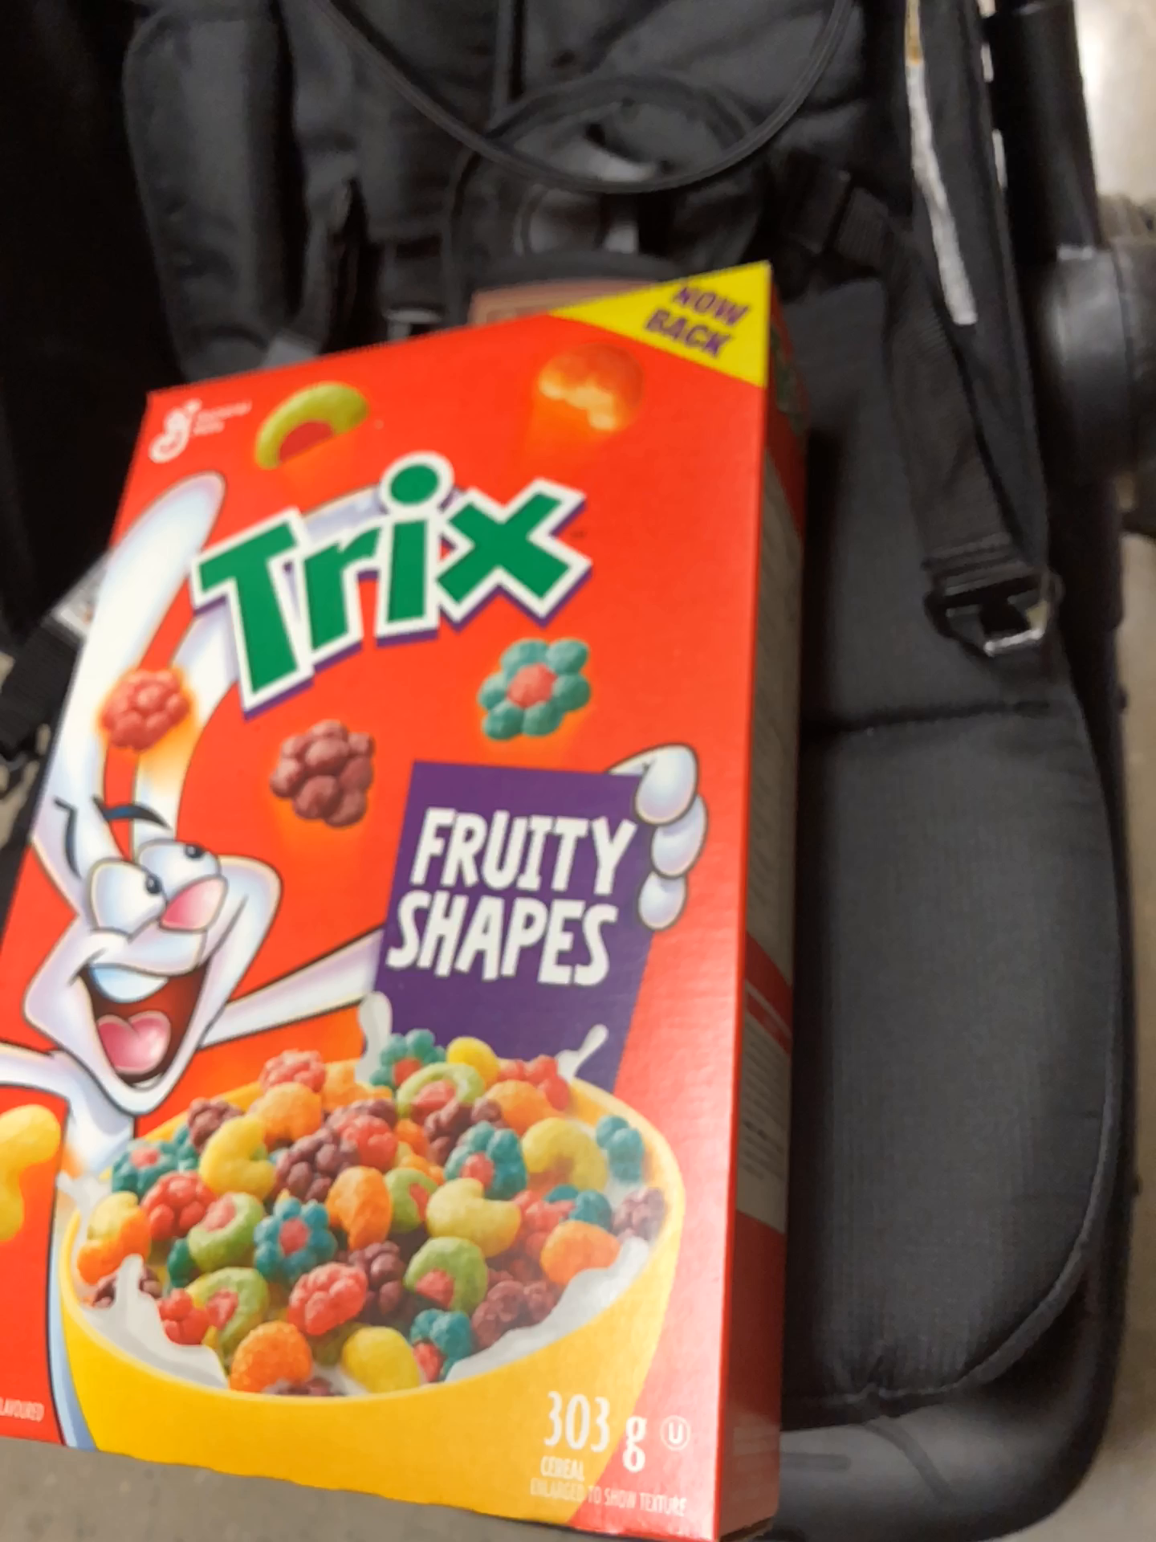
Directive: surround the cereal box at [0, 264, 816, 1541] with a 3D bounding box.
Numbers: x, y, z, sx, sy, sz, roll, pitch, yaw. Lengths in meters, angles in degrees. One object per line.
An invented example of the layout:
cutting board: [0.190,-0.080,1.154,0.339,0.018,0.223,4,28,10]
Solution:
cereal box: [-0.047,0.024,0.325,0.200,0.060,0.280,-4,66,21]
